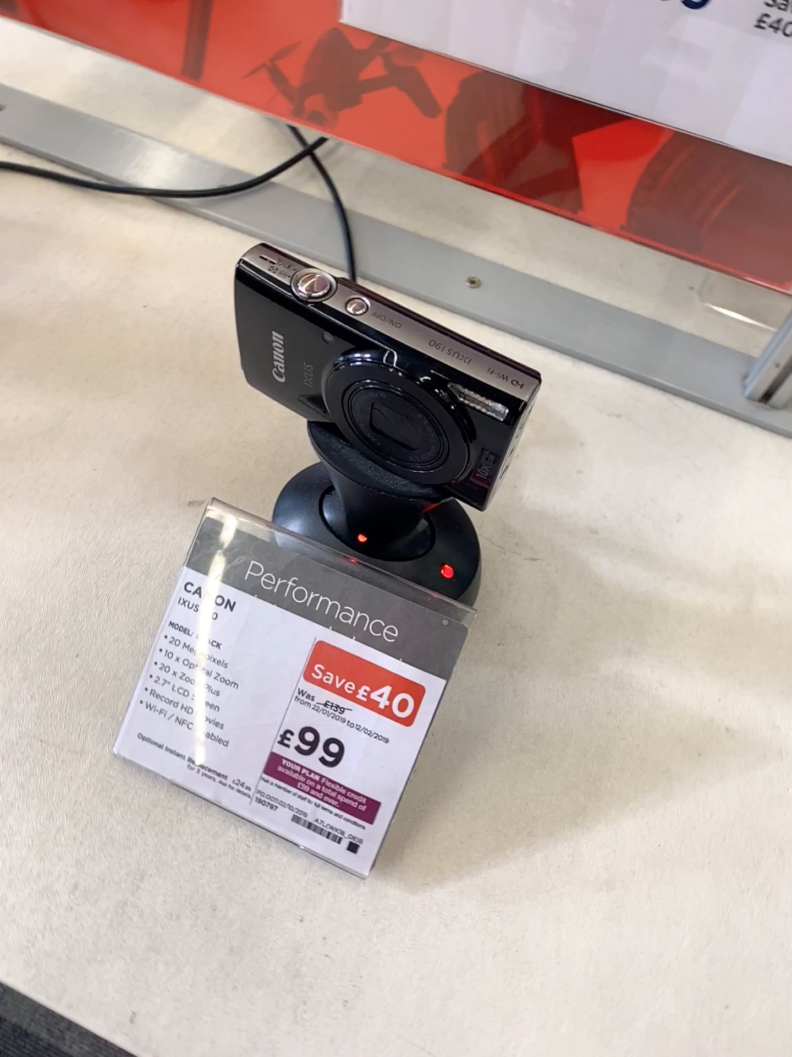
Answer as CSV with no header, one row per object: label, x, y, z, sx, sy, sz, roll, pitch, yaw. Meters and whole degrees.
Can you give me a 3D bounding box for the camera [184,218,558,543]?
camera,-0.009,-0.043,0.242,0.100,0.050,0.030,29,62,11
